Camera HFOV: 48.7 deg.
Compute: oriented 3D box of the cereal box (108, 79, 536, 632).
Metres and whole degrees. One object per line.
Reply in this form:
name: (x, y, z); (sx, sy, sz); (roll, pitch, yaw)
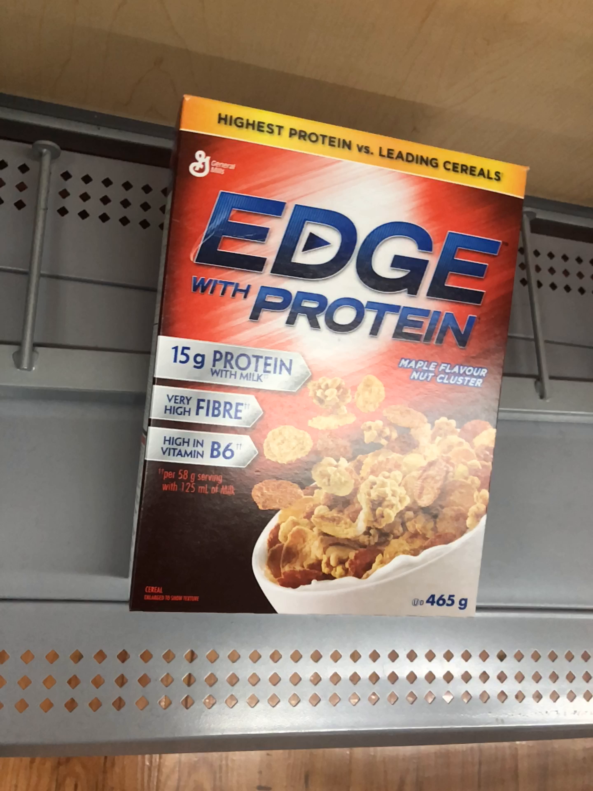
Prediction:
cereal box: (0.013, -0.012, 0.368); (0.200, 0.070, 0.260); (6, 89, -14)
